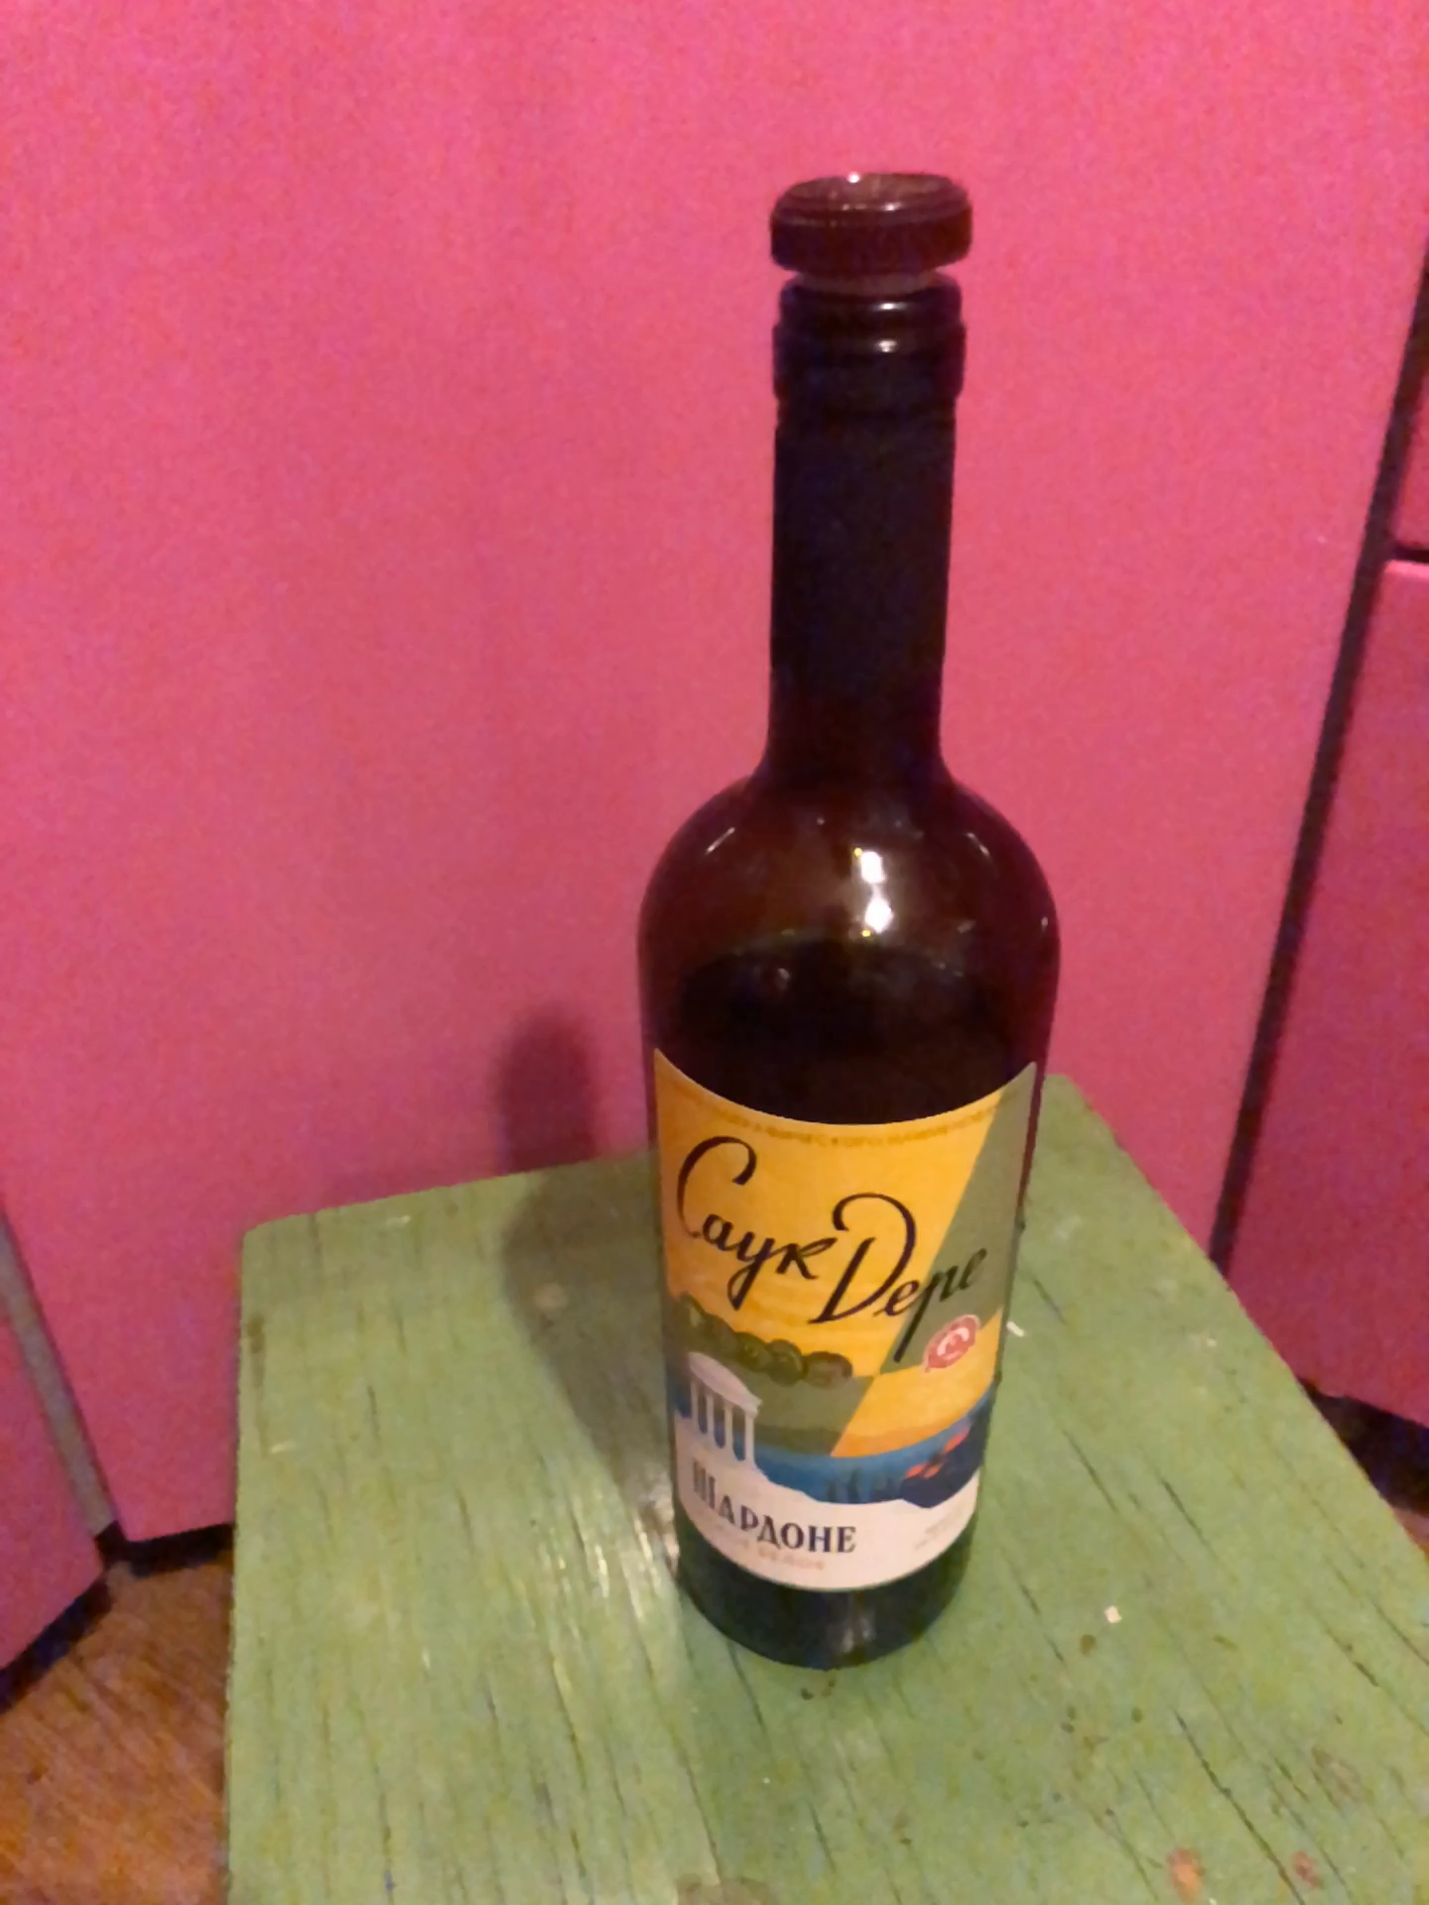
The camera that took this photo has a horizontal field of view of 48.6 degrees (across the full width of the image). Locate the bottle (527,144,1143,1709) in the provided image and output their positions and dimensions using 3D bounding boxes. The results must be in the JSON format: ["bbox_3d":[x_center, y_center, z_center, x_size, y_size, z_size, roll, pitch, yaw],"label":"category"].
[{"bbox_3d":[0.022,0.019,0.302,0.071,0.301,0.071,-1,34,0],"label":"bottle"}]
